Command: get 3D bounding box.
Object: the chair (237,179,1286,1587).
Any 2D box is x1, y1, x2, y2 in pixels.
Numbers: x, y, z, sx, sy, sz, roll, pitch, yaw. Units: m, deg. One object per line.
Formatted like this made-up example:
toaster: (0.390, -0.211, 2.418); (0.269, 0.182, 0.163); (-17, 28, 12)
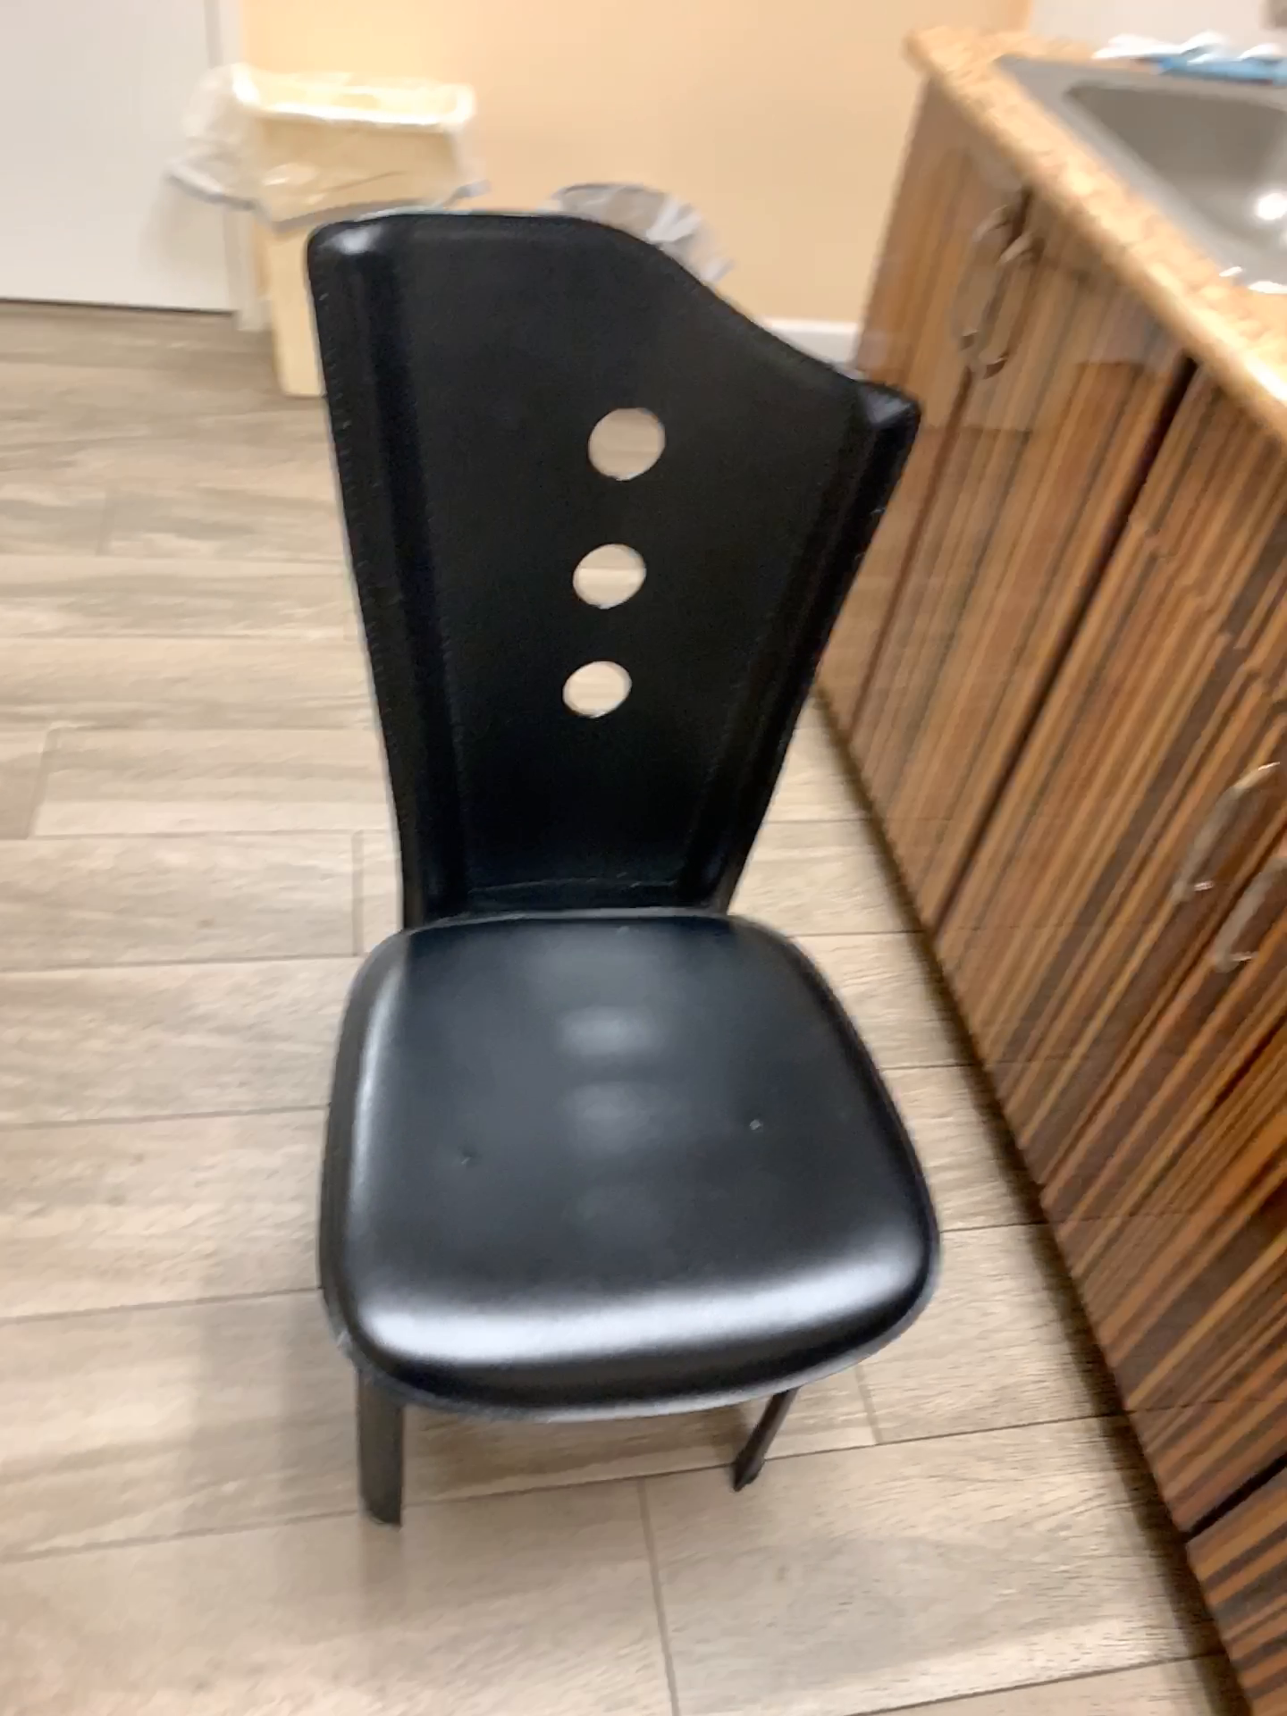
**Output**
chair: (-0.007, 0.106, 0.967); (0.462, 0.942, 0.475); (-1, 46, -12)
